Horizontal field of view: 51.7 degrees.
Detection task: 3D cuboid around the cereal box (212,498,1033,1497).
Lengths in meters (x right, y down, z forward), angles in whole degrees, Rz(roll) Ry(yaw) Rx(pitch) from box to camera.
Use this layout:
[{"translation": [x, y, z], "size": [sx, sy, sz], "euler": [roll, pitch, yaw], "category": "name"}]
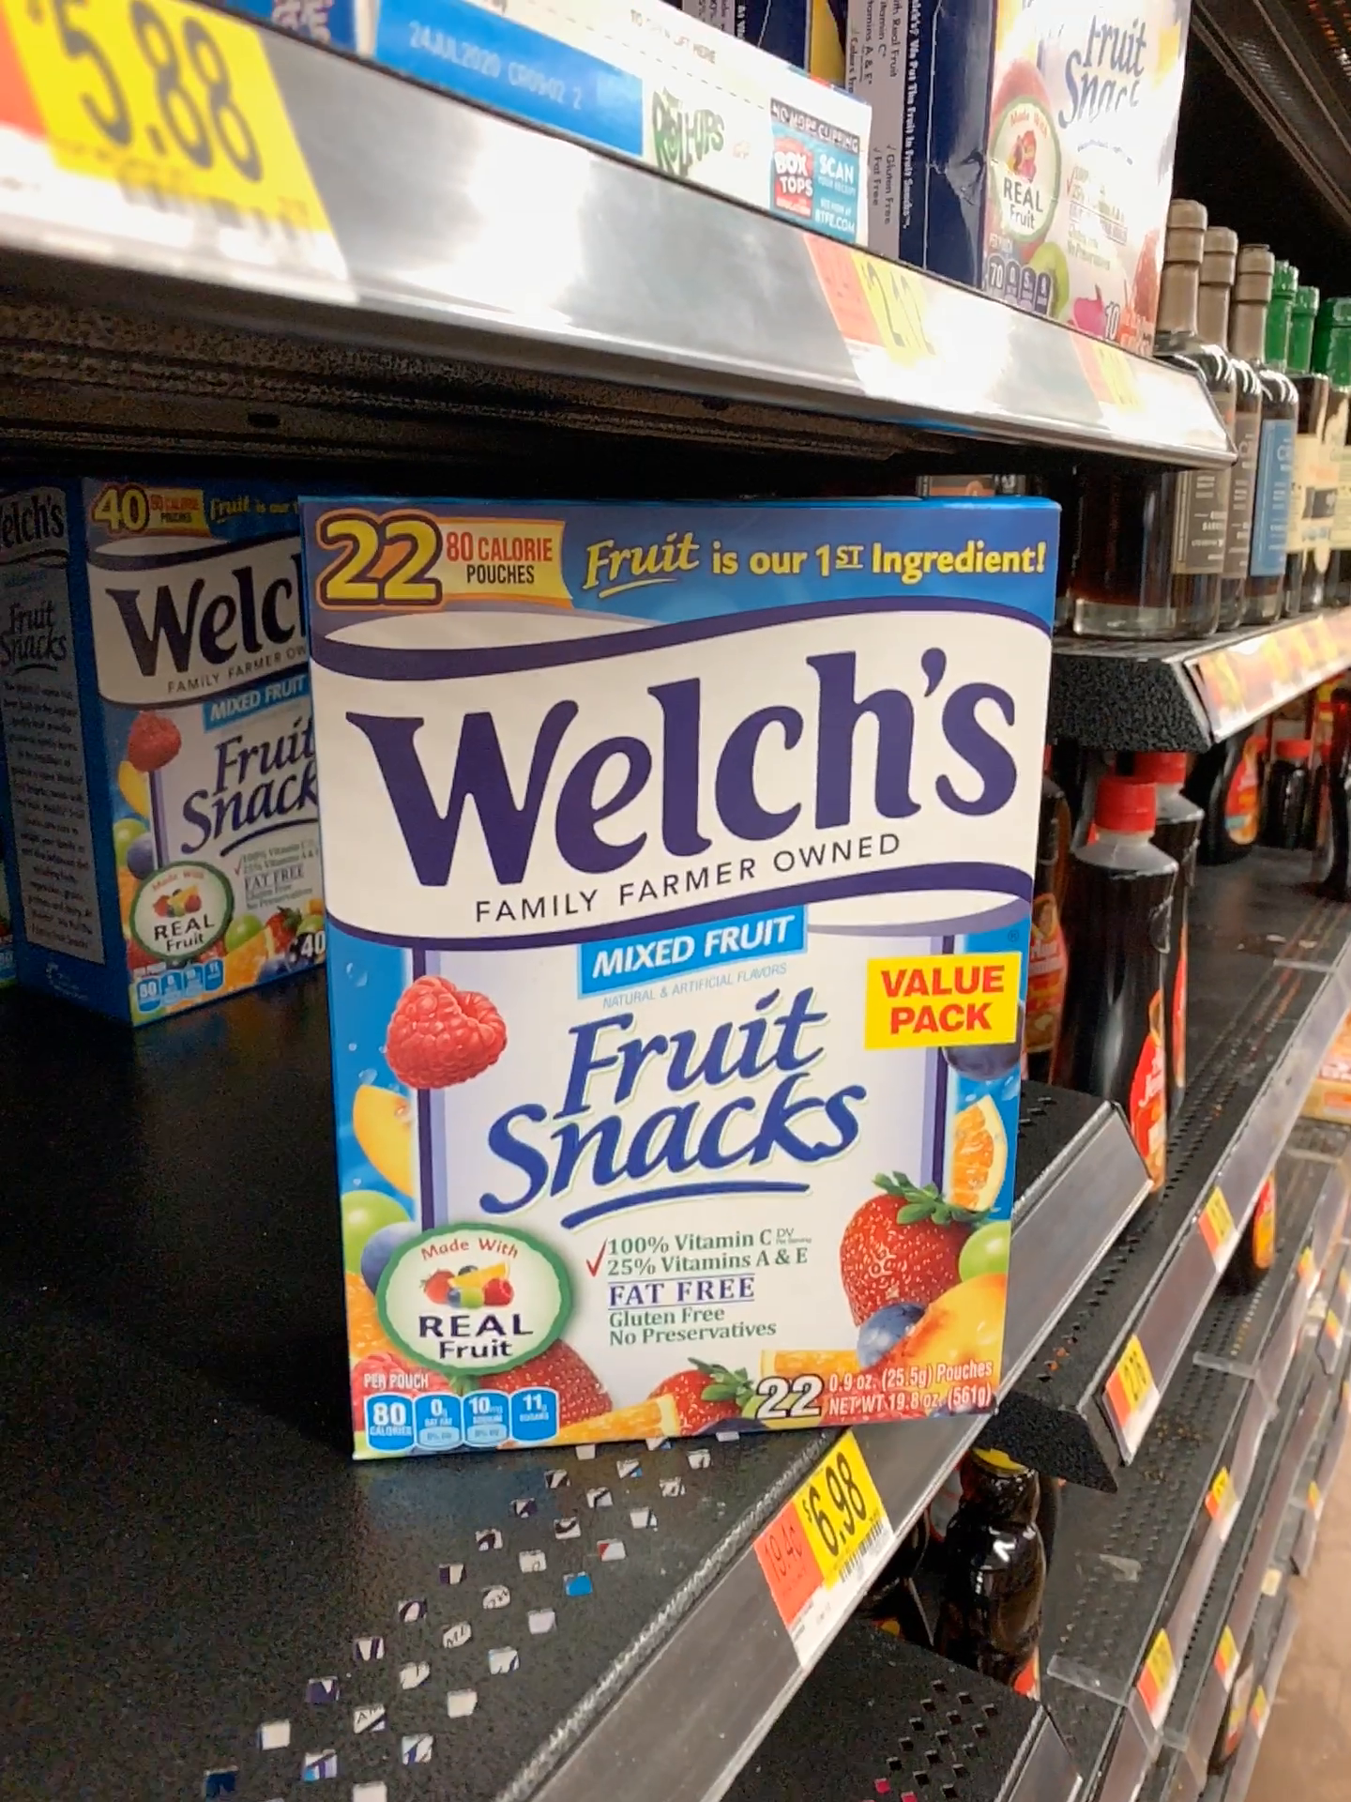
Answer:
[{"translation": [-0.011, 0.021, 0.345], "size": [0.170, 0.229, 0.060], "euler": [-2, 15, -7], "category": "cereal box"}]
